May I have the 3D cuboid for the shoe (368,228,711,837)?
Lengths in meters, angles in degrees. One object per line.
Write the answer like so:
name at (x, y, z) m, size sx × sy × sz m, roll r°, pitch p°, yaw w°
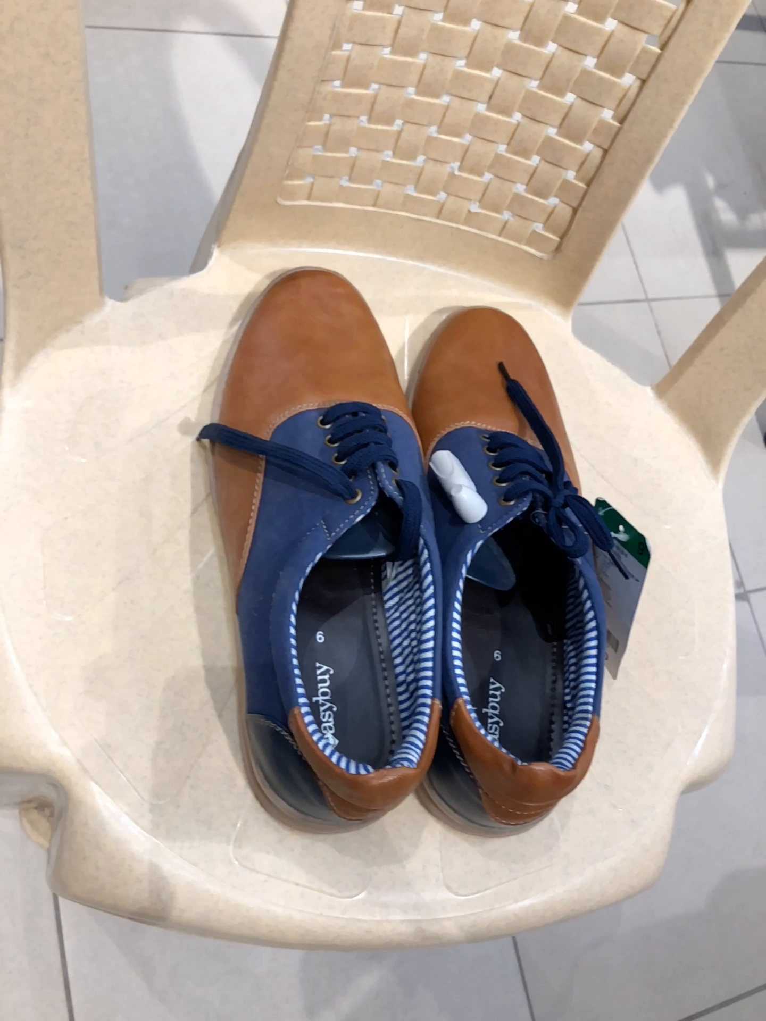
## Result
shoe at (0.064, 0.017, 0.406) m, size 0.104 × 0.120 × 0.252 m, roll 7°, pitch 71°, yaw -15°

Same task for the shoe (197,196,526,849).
shoe at (-0.024, 0.007, 0.383) m, size 0.104 × 0.113 × 0.254 m, roll 0°, pitch 73°, yaw -17°
